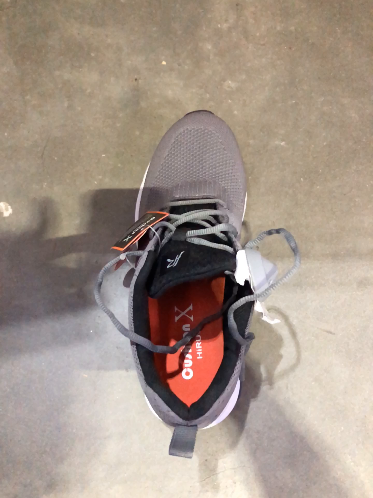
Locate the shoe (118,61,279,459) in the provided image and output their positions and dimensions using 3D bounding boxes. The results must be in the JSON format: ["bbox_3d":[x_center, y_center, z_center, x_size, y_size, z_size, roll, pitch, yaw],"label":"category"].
[{"bbox_3d":[0.003,0.002,0.376,0.110,0.100,0.320,-3,74,1],"label":"shoe"}]
